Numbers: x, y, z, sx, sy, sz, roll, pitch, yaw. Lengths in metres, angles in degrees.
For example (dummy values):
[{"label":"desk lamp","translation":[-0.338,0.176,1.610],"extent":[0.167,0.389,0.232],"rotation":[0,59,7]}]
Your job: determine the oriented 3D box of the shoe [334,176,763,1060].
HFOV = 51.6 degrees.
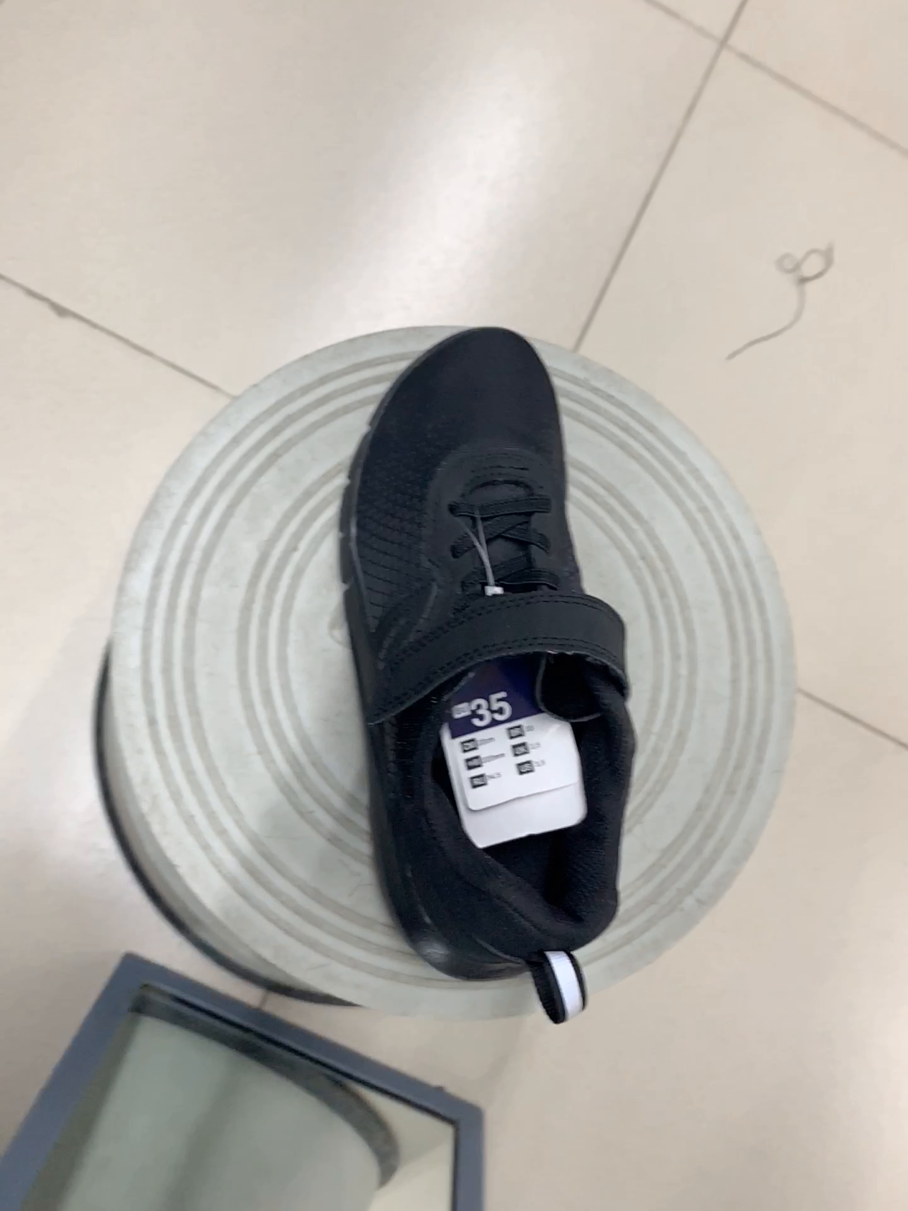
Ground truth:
[{"label":"shoe","translation":[0.020,-0.001,0.311],"extent":[0.100,0.080,0.250],"rotation":[-2,80,-12]}]
